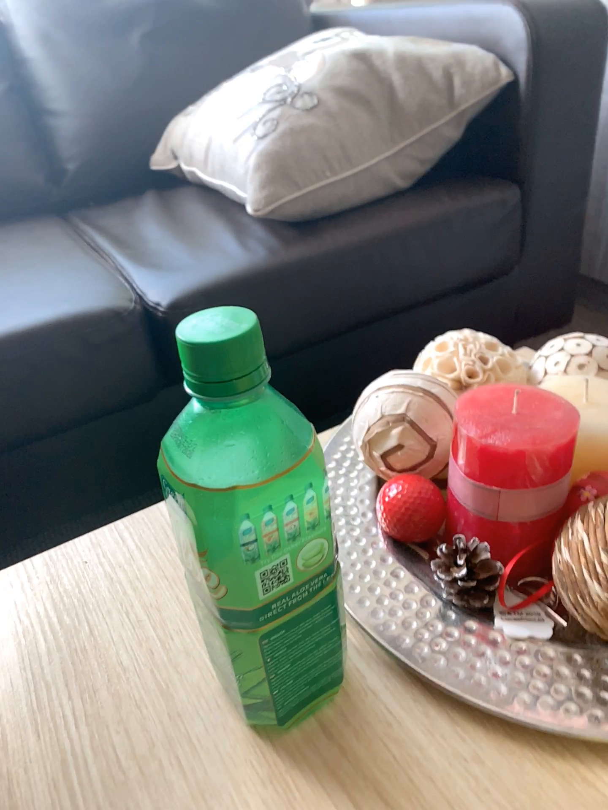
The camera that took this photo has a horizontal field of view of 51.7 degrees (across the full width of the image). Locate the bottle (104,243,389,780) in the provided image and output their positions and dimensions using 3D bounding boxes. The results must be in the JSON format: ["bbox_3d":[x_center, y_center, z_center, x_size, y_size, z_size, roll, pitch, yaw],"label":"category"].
[{"bbox_3d":[-0.014,0.054,0.271,0.070,0.218,0.071,-4,33,2],"label":"bottle"}]
